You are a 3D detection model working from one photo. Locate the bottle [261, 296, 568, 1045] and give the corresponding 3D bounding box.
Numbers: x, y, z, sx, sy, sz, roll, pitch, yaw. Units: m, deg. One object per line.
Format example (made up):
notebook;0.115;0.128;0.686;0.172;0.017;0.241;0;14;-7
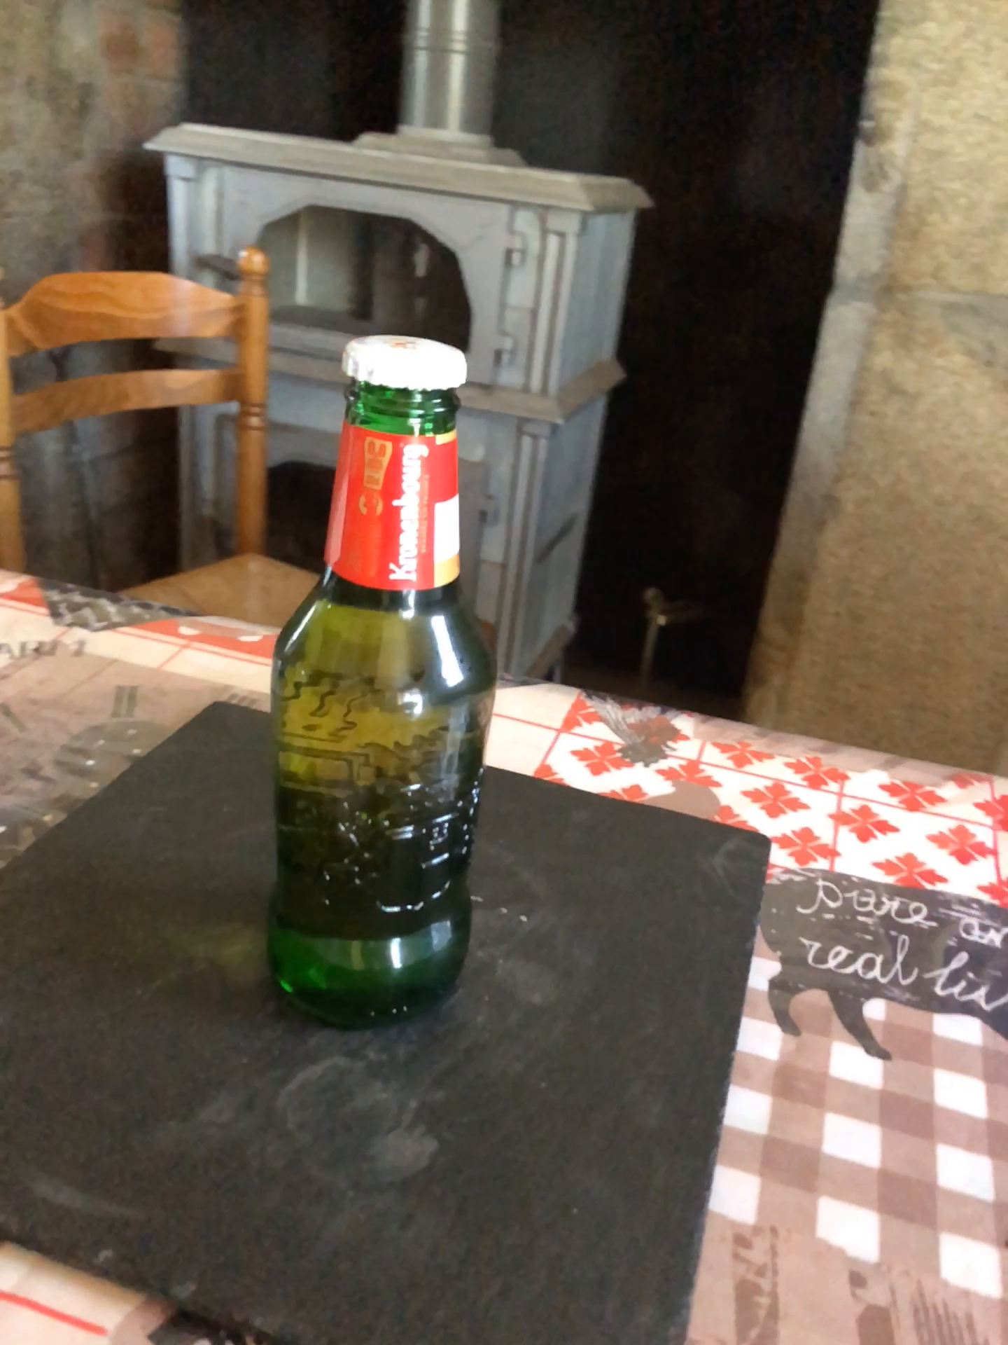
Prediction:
bottle;-0.025;0.003;0.288;0.060;0.179;0.060;5;24;-2
